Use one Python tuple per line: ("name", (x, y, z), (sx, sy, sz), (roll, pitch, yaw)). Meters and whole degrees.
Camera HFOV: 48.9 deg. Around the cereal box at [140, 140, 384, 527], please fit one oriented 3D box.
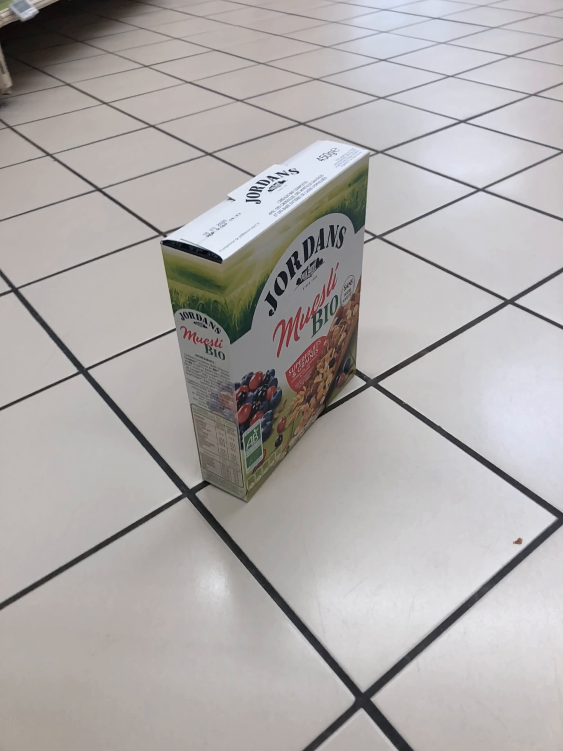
("cereal box", (-0.003, -0.032, 0.468), (0.060, 0.219, 0.191), (22, 46, 24))
